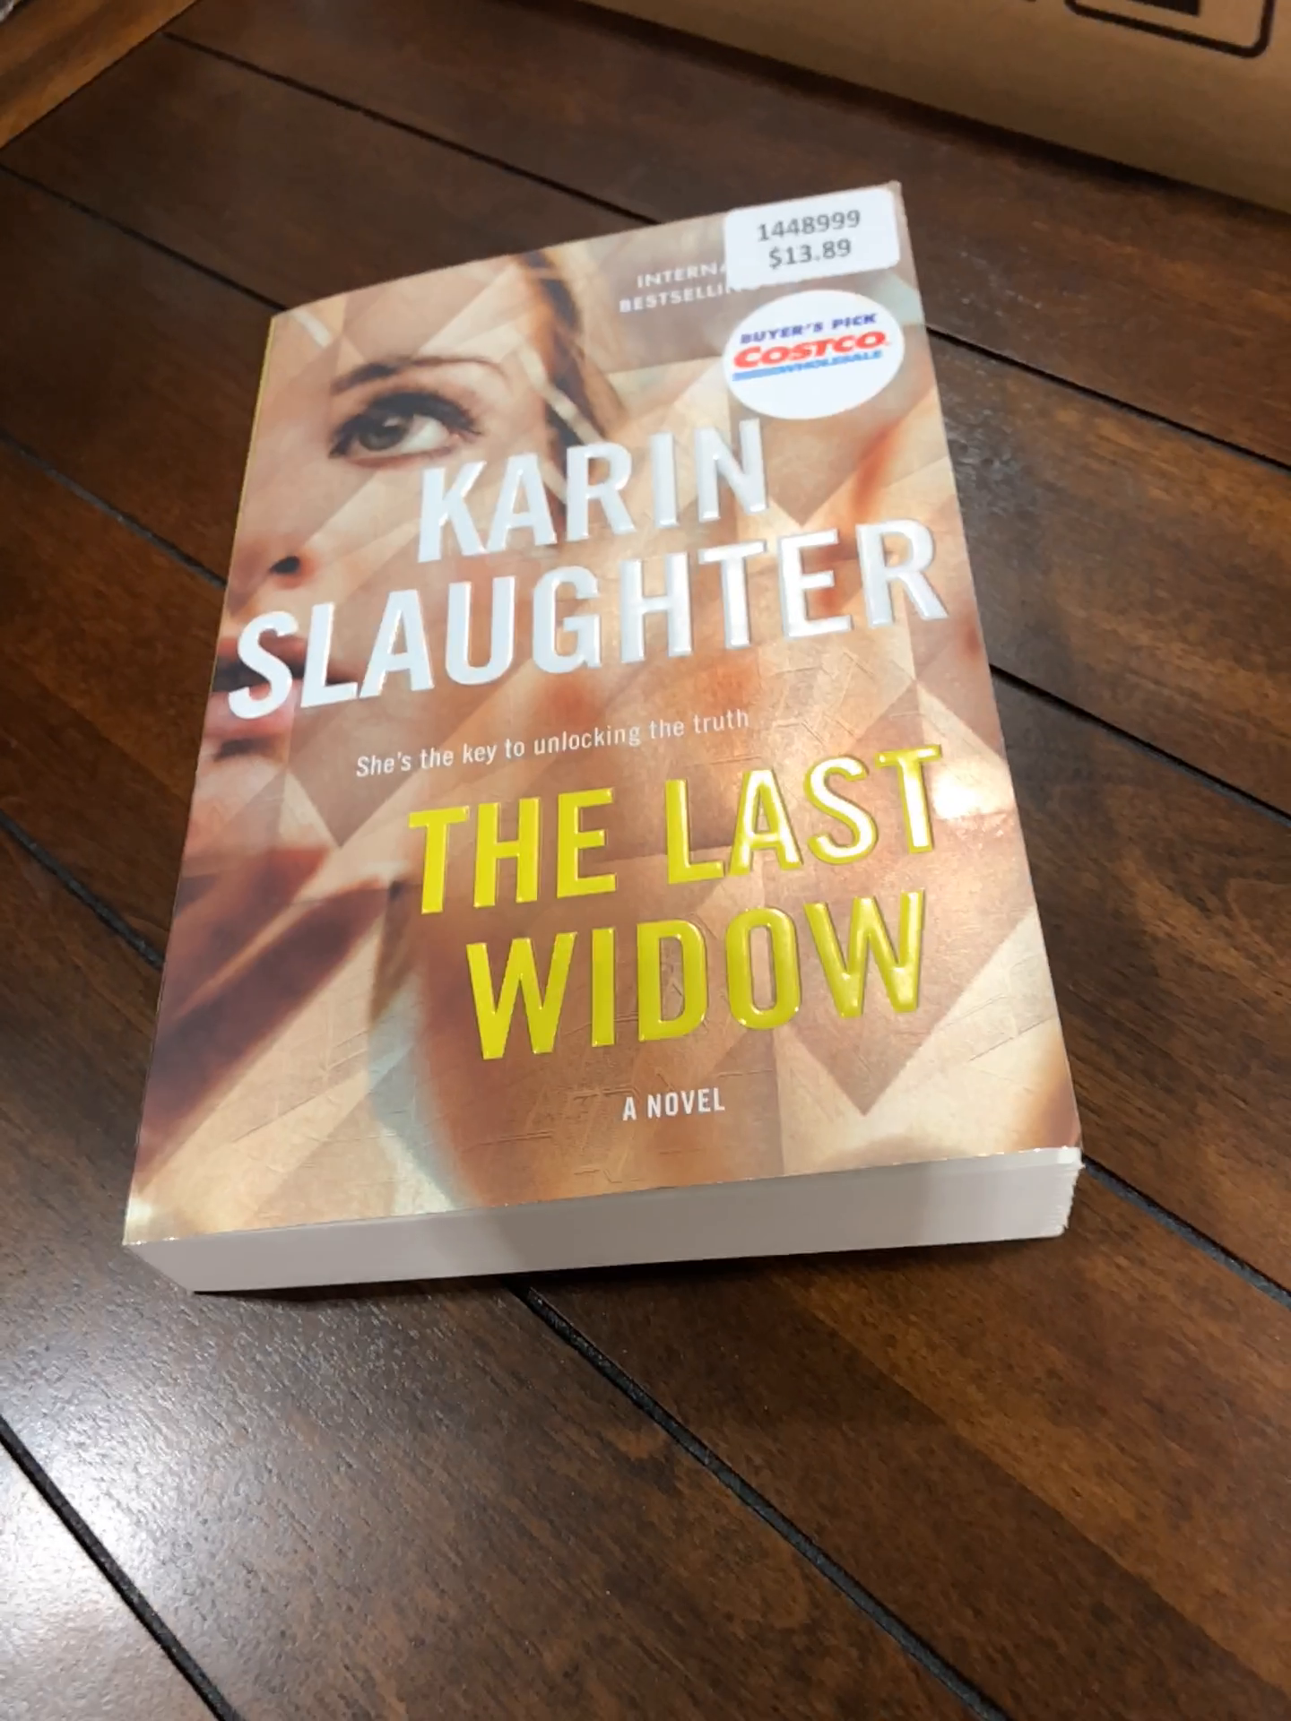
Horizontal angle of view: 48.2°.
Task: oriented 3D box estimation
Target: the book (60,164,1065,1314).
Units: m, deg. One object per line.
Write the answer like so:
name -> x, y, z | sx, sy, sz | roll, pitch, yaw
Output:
book -> -0.015, -0.036, 0.292 | 0.154, 0.042, 0.230 | -8, 58, 10
